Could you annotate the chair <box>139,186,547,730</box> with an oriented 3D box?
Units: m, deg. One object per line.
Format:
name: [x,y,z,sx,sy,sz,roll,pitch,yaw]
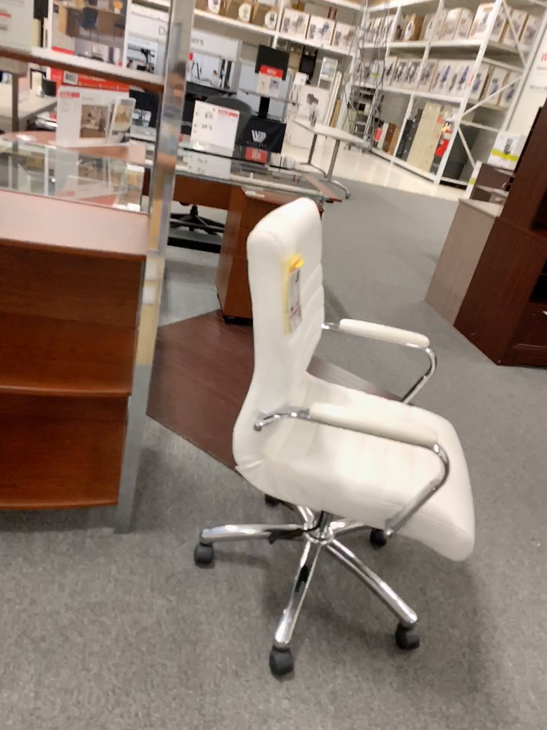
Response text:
chair: [0.187,0.161,1.289,0.680,0.905,0.623,17,26,7]
